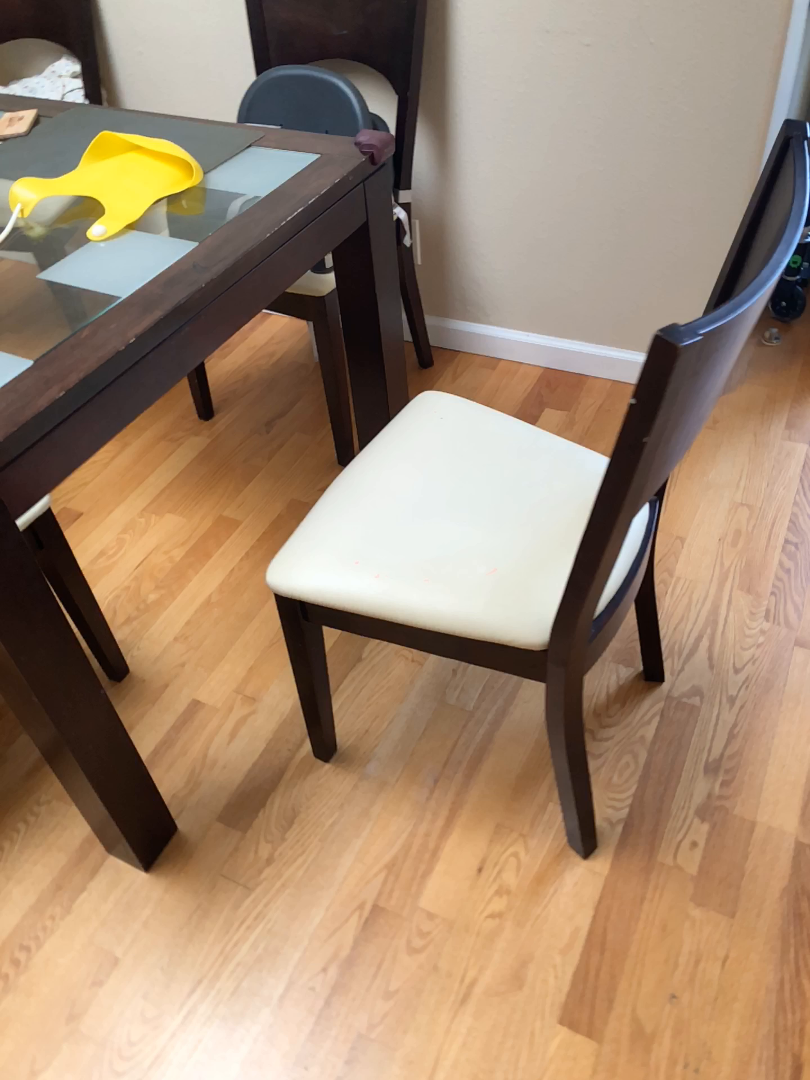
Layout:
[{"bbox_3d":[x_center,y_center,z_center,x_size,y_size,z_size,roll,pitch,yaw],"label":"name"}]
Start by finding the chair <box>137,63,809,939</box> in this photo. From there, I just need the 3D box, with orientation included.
[{"bbox_3d":[0.166,-0.032,1.260,0.591,0.994,0.562,19,48,24],"label":"chair"}]
